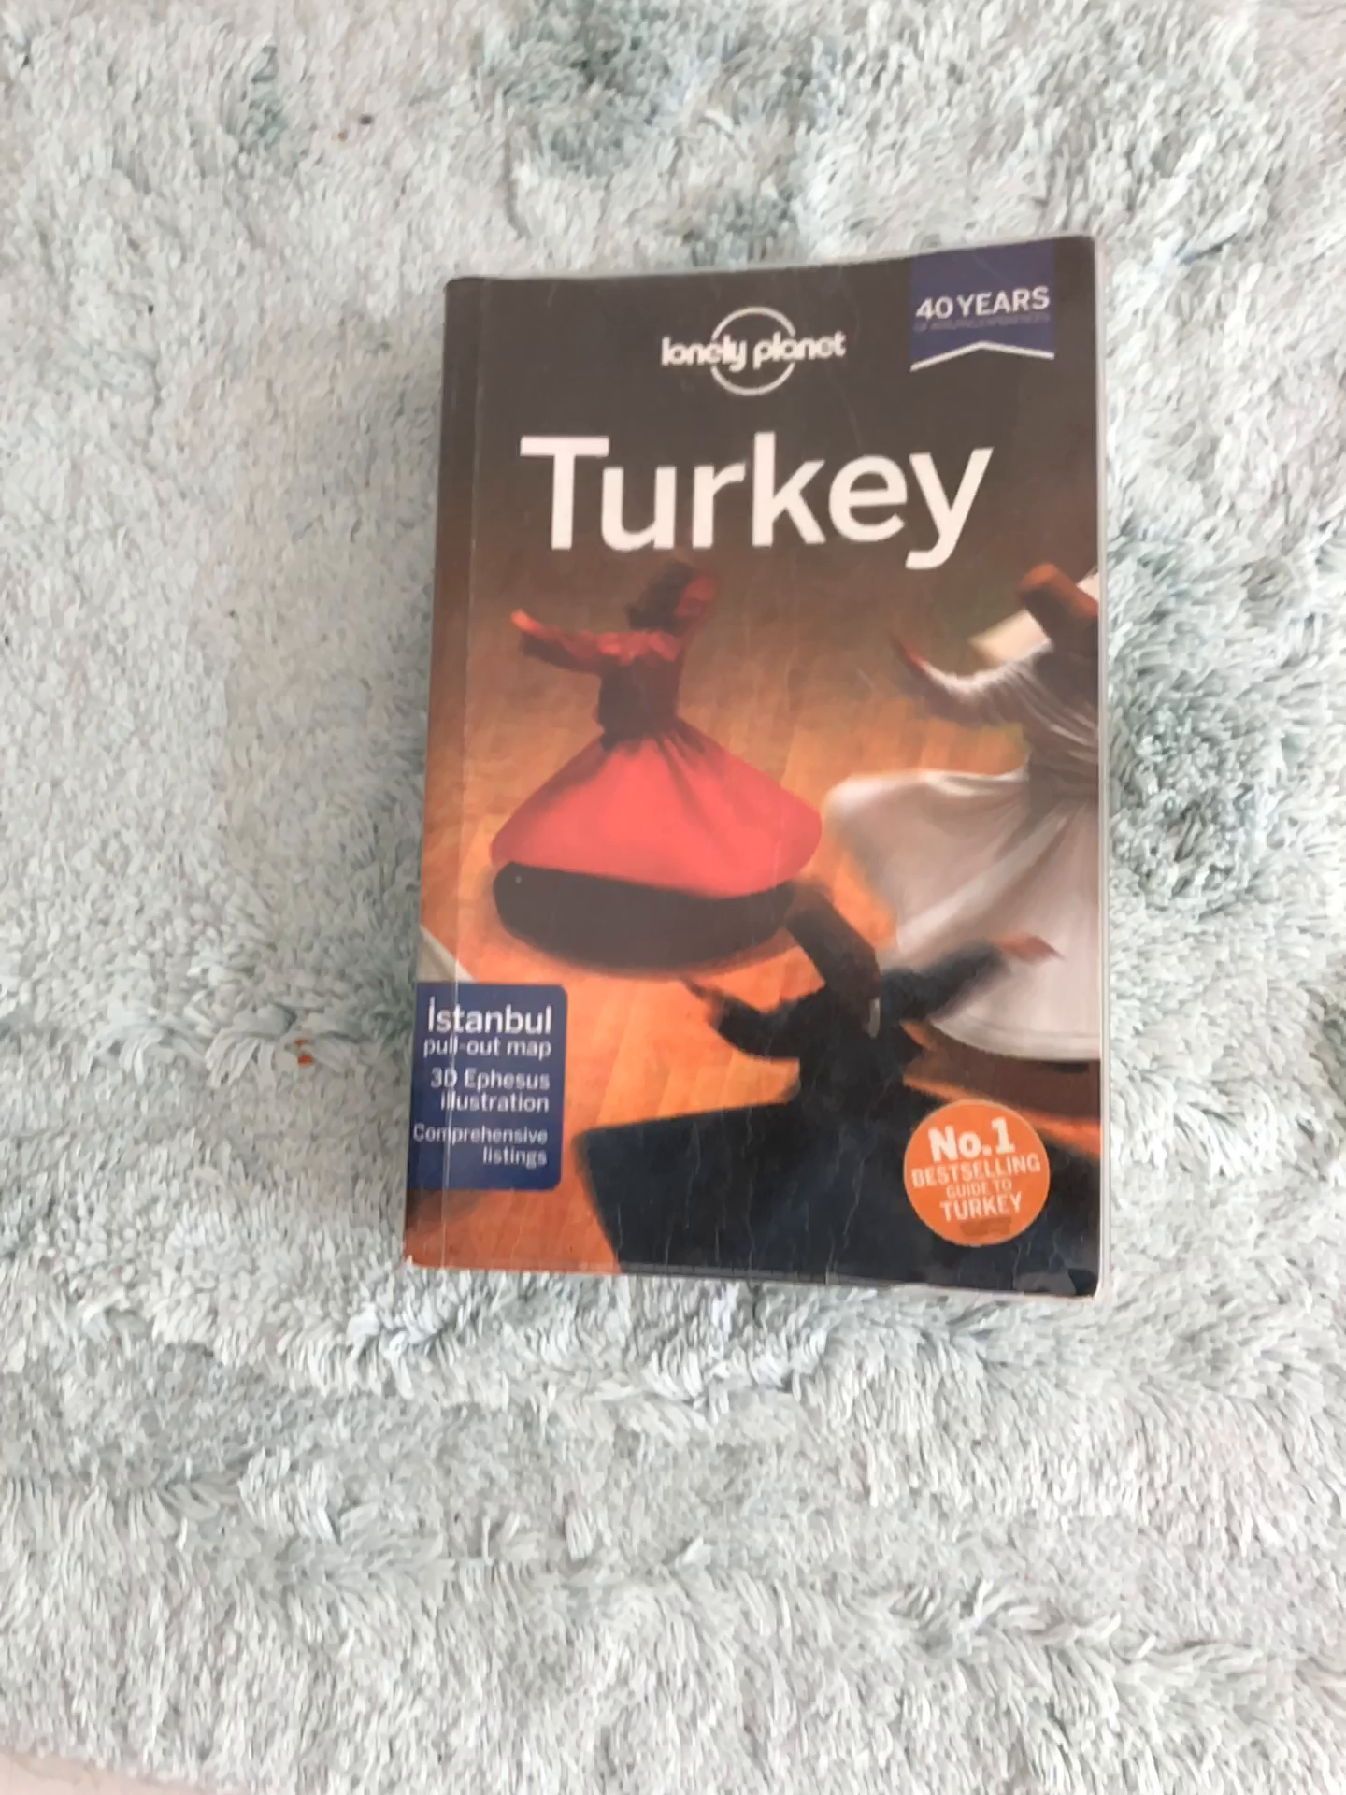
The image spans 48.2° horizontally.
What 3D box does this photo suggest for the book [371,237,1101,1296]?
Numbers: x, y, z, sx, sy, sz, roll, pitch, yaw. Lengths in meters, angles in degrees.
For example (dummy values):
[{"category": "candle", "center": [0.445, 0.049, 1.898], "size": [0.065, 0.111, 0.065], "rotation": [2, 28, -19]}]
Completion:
[{"category": "book", "center": [0.015, -0.025, 0.300], "size": [0.130, 0.046, 0.190], "rotation": [1, 85, 9]}]
